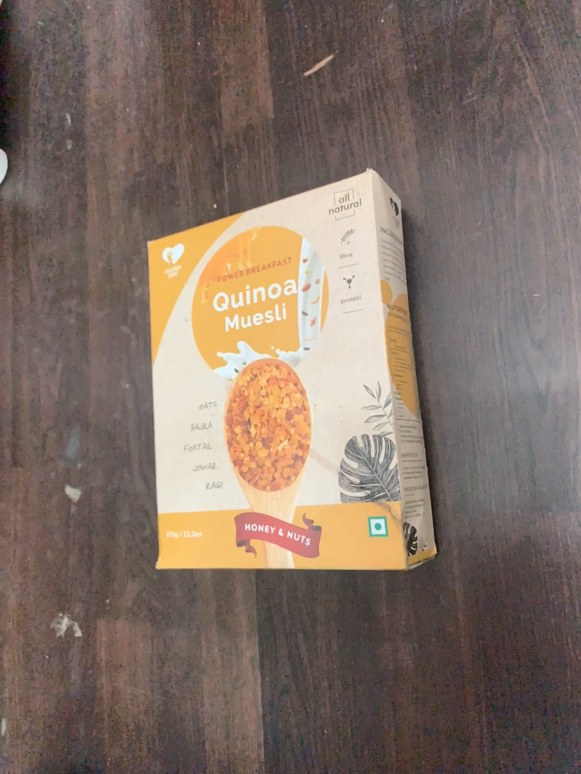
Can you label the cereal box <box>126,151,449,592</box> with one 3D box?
[{"bbox_3d":[-0.009,0.000,0.363,0.171,0.060,0.220,-8,82,29],"label":"cereal box"}]
